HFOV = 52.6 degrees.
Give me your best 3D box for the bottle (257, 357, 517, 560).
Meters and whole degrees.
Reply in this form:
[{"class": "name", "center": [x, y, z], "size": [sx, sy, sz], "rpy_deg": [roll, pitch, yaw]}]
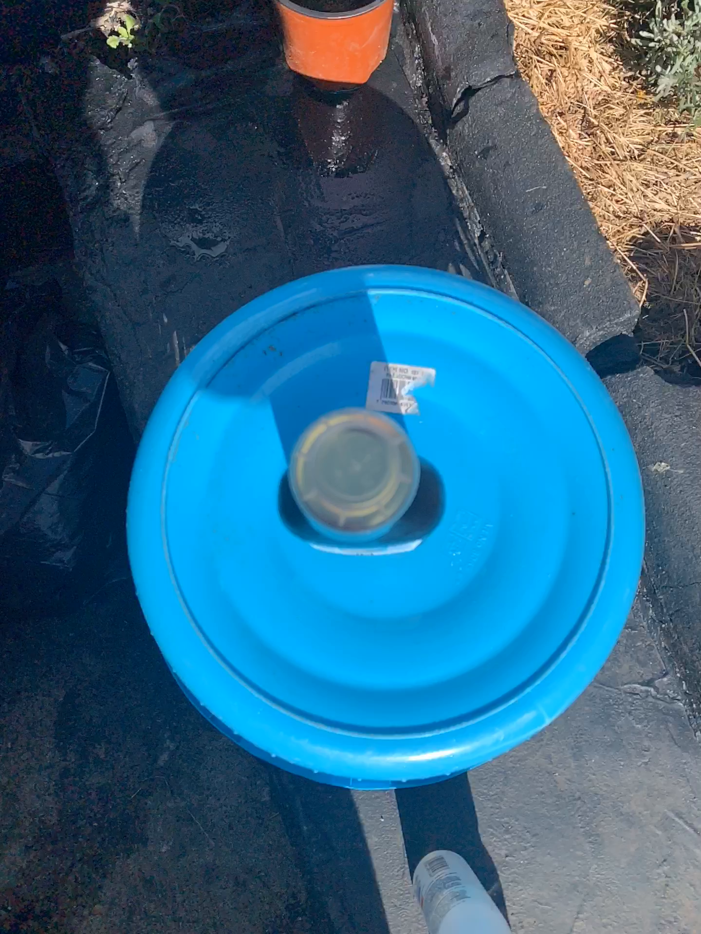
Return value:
[{"class": "bottle", "center": [0.006, 0.009, 0.322], "size": [0.080, 0.200, 0.050], "rpy_deg": [-2, 79, -3]}]
